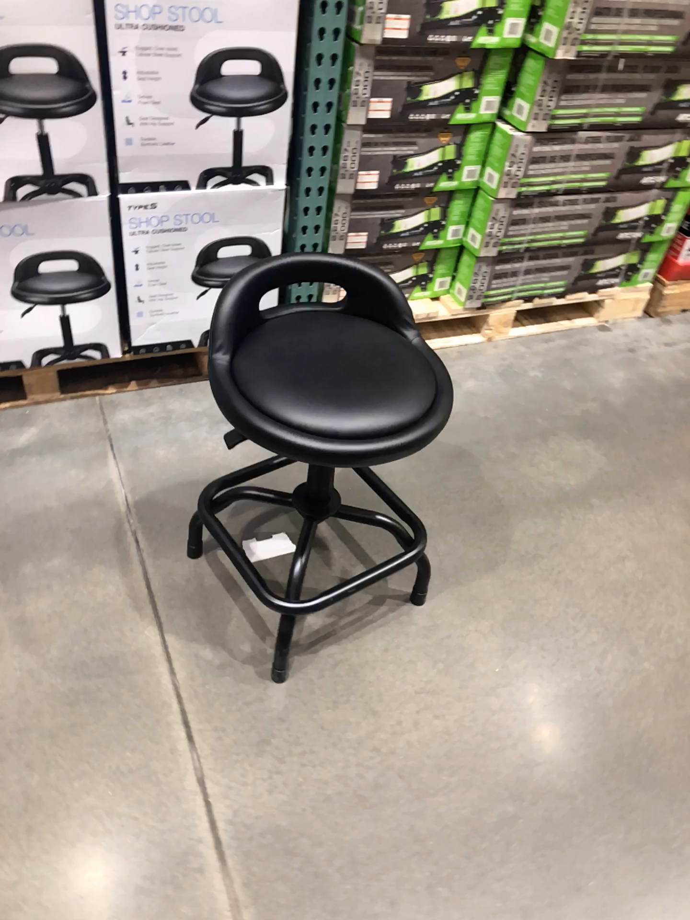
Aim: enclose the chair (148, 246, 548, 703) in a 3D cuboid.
[{"bbox_3d":[-0.054,0.014,1.443,0.520,0.627,0.503,-9,45,-19],"label":"chair"}]
